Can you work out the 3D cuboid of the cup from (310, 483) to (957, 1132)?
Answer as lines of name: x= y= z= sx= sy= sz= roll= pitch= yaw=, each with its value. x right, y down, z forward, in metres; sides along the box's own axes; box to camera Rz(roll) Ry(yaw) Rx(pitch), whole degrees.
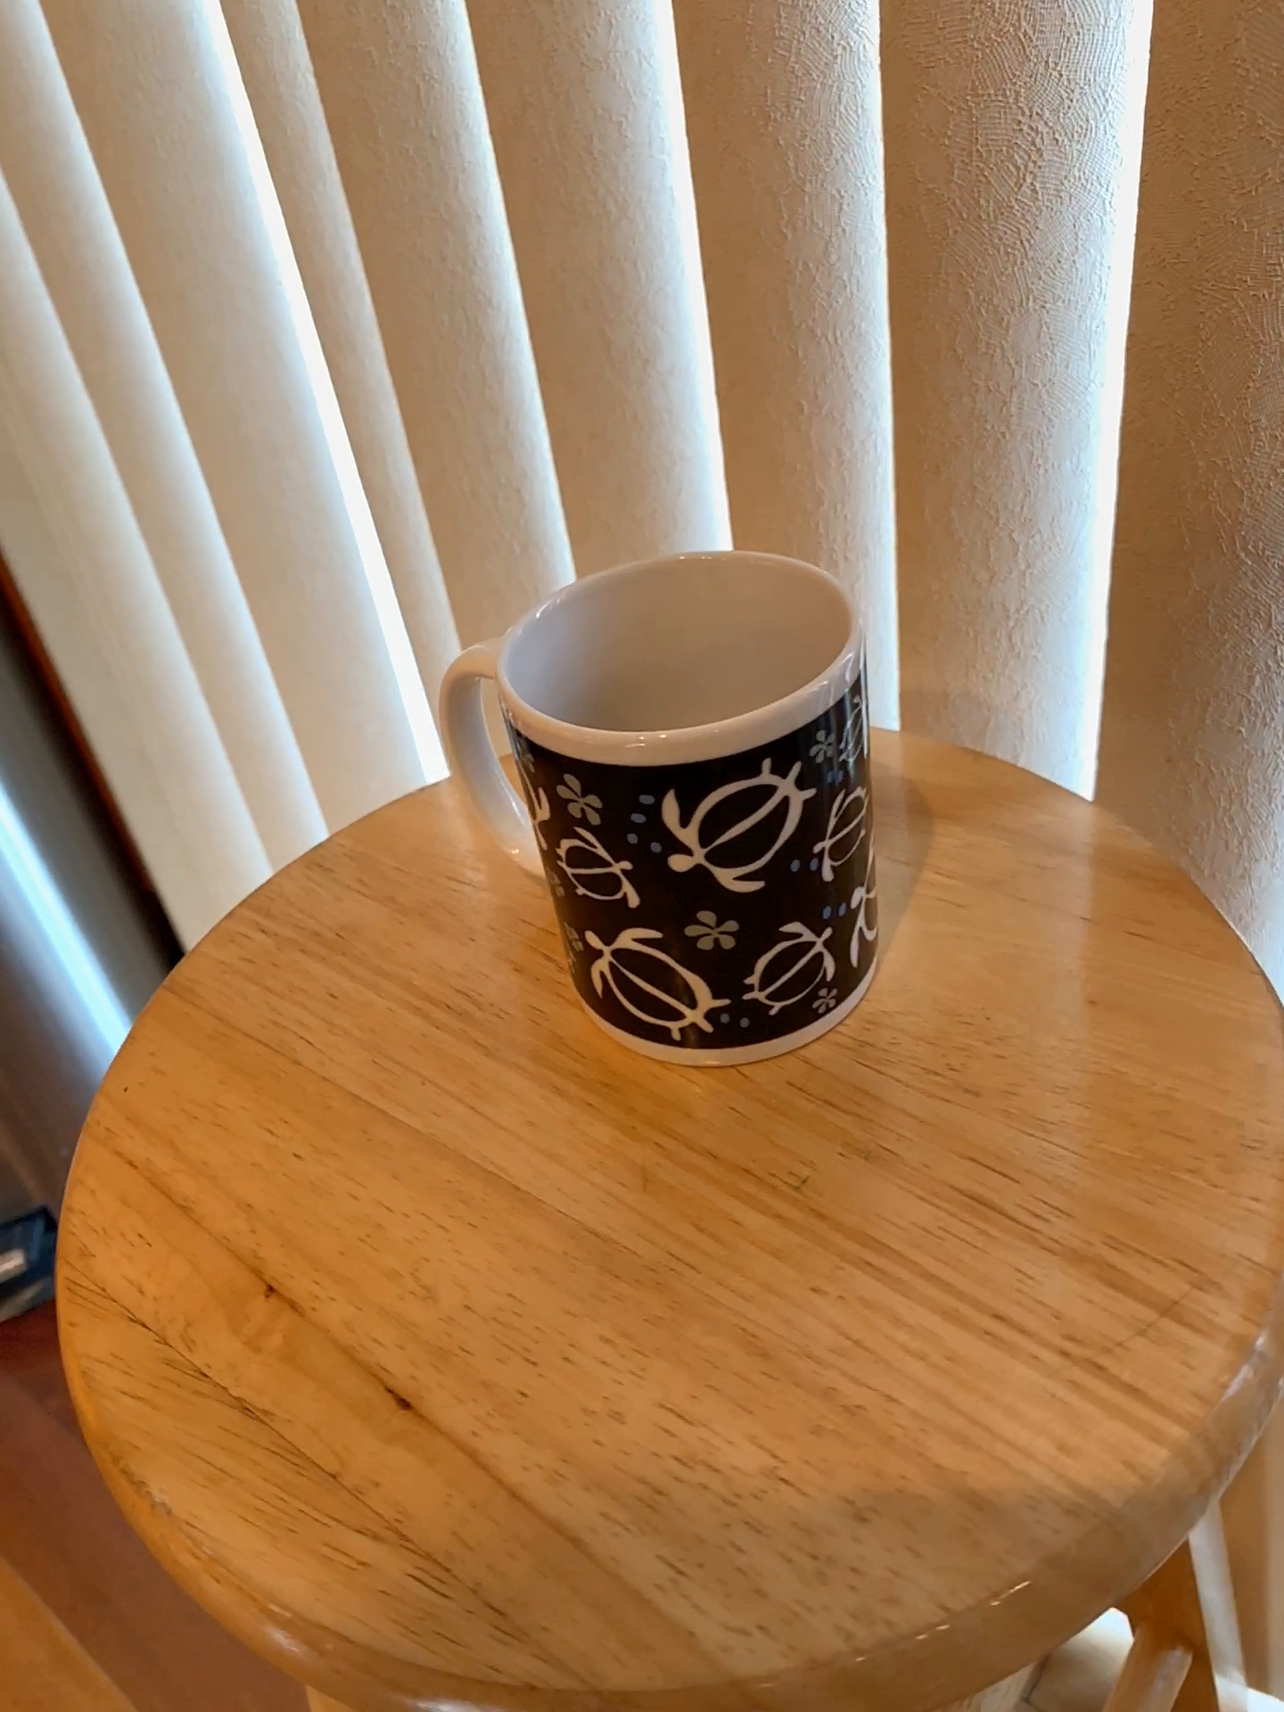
cup: x=0.002 y=-0.020 z=0.334 sx=0.120 sy=0.099 sz=0.090 roll=23 pitch=48 yaw=36
